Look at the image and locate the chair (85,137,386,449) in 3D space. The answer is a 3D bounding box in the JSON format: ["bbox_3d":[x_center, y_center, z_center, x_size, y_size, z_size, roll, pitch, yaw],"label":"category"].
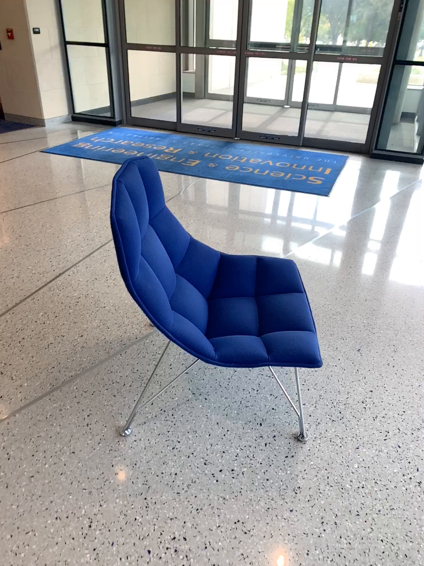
[{"bbox_3d":[0.061,0.002,1.781,0.828,0.963,0.805,2,30,0],"label":"chair"}]
